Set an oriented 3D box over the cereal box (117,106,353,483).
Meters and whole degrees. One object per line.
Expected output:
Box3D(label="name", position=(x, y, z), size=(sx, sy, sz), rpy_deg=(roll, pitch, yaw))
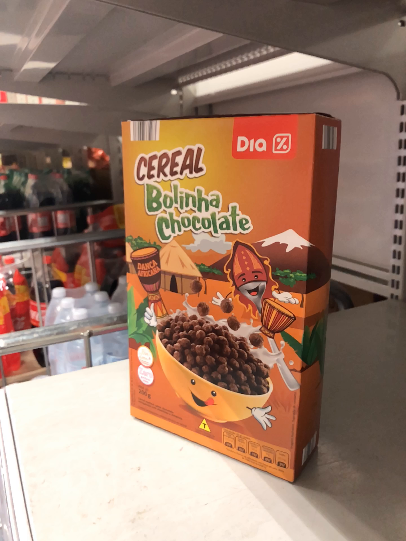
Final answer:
Box3D(label="cereal box", position=(0.015, 0.009, 0.369), size=(0.170, 0.259, 0.060), rpy_deg=(10, 15, 32))
